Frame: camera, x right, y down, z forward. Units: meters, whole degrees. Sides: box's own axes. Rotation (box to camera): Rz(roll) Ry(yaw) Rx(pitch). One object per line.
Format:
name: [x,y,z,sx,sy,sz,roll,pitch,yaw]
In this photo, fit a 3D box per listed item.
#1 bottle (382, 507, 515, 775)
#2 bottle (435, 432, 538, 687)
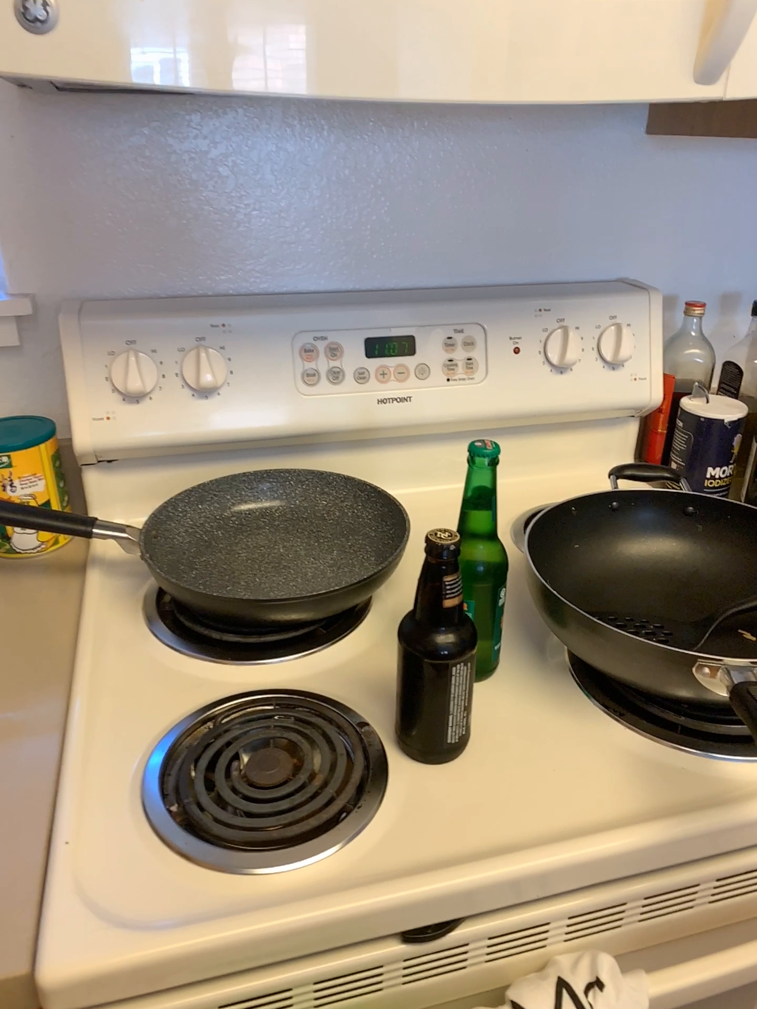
bottle: [0.051,0.107,0.610,0.070,0.189,0.070,0,26,0]
bottle: [0.092,0.049,0.674,0.060,0.209,0.060,0,26,0]
